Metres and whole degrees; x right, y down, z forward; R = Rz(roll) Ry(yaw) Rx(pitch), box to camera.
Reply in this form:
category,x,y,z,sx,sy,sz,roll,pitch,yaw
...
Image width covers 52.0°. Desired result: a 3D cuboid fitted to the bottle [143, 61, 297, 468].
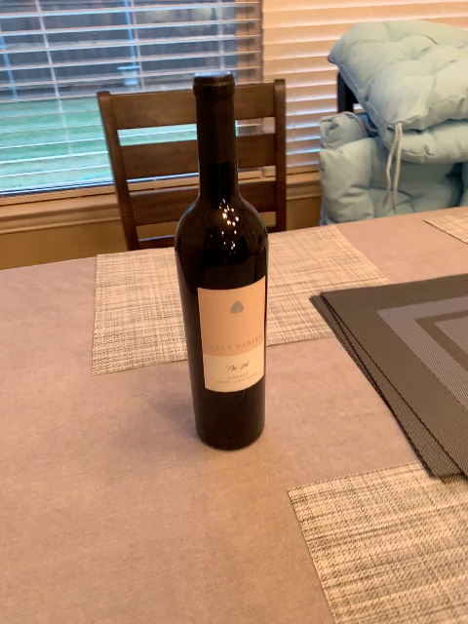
category,x,y,z,sx,sy,sz,roll,pitch,yaw
bottle,-0.007,-0.024,0.410,0.083,0.328,0.090,-2,32,1
